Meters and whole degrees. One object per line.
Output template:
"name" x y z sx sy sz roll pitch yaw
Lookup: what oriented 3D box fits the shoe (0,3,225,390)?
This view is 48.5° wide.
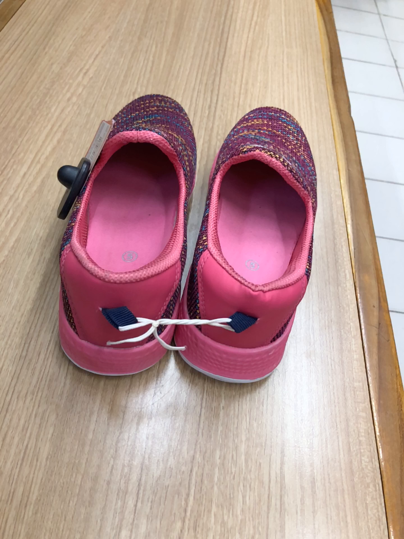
"shoe" -0.047 -0.062 0.298 0.105 0.103 0.245 7 53 -4

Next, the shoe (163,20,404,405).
"shoe" 0.053 -0.053 0.307 0.105 0.103 0.245 11 53 0
